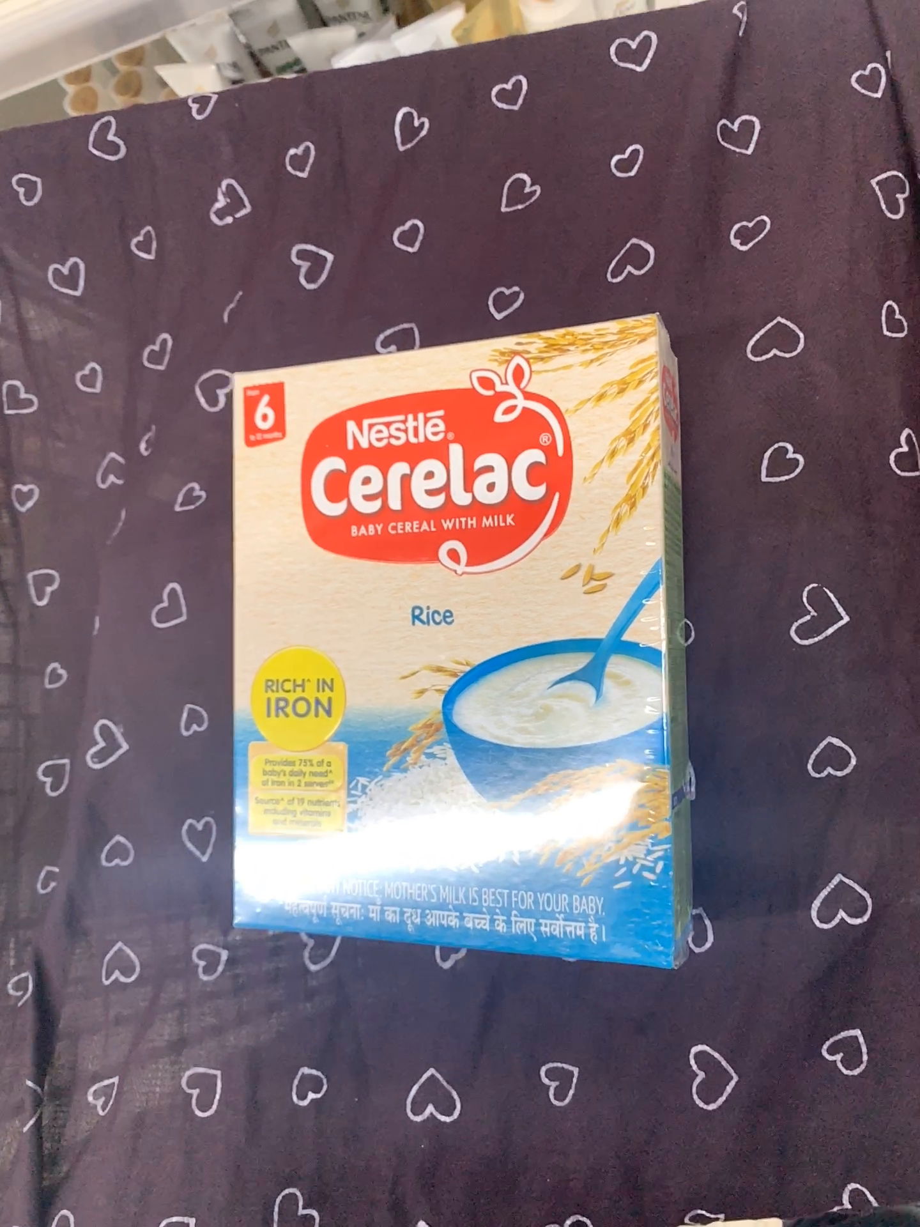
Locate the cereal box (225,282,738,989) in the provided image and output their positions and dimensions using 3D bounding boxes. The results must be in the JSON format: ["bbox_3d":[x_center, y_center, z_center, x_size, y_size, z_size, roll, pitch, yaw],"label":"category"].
[{"bbox_3d":[0.003,0.008,0.314,0.160,0.040,0.200,-3,85,20],"label":"cereal box"}]
